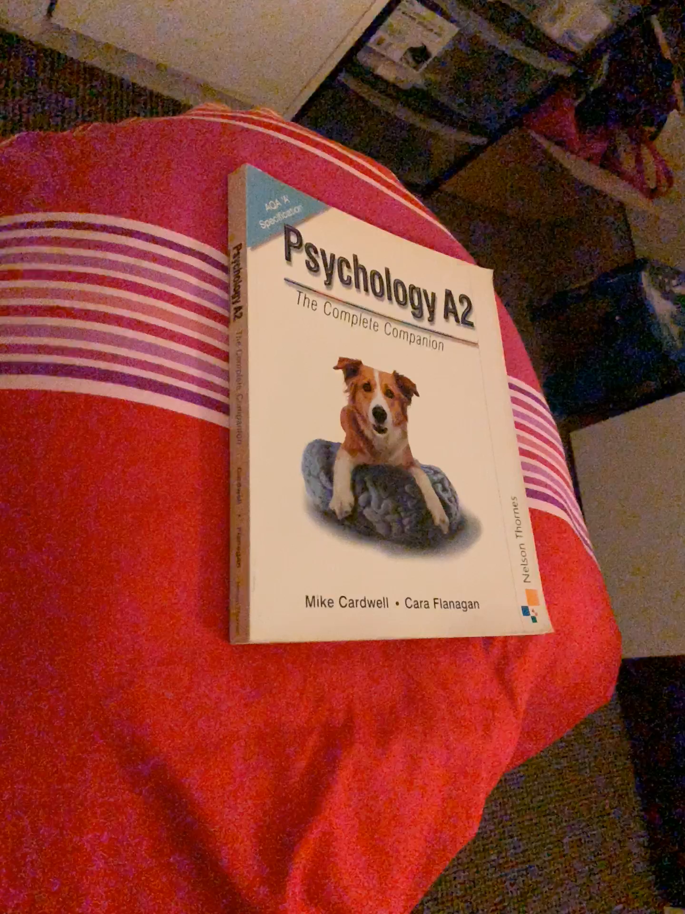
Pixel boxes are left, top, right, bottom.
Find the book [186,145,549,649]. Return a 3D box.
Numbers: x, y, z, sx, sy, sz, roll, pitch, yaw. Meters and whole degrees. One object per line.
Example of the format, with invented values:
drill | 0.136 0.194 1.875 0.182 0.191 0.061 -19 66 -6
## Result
book | 0.019 -0.030 0.461 0.241 0.040 0.291 9 68 -34
